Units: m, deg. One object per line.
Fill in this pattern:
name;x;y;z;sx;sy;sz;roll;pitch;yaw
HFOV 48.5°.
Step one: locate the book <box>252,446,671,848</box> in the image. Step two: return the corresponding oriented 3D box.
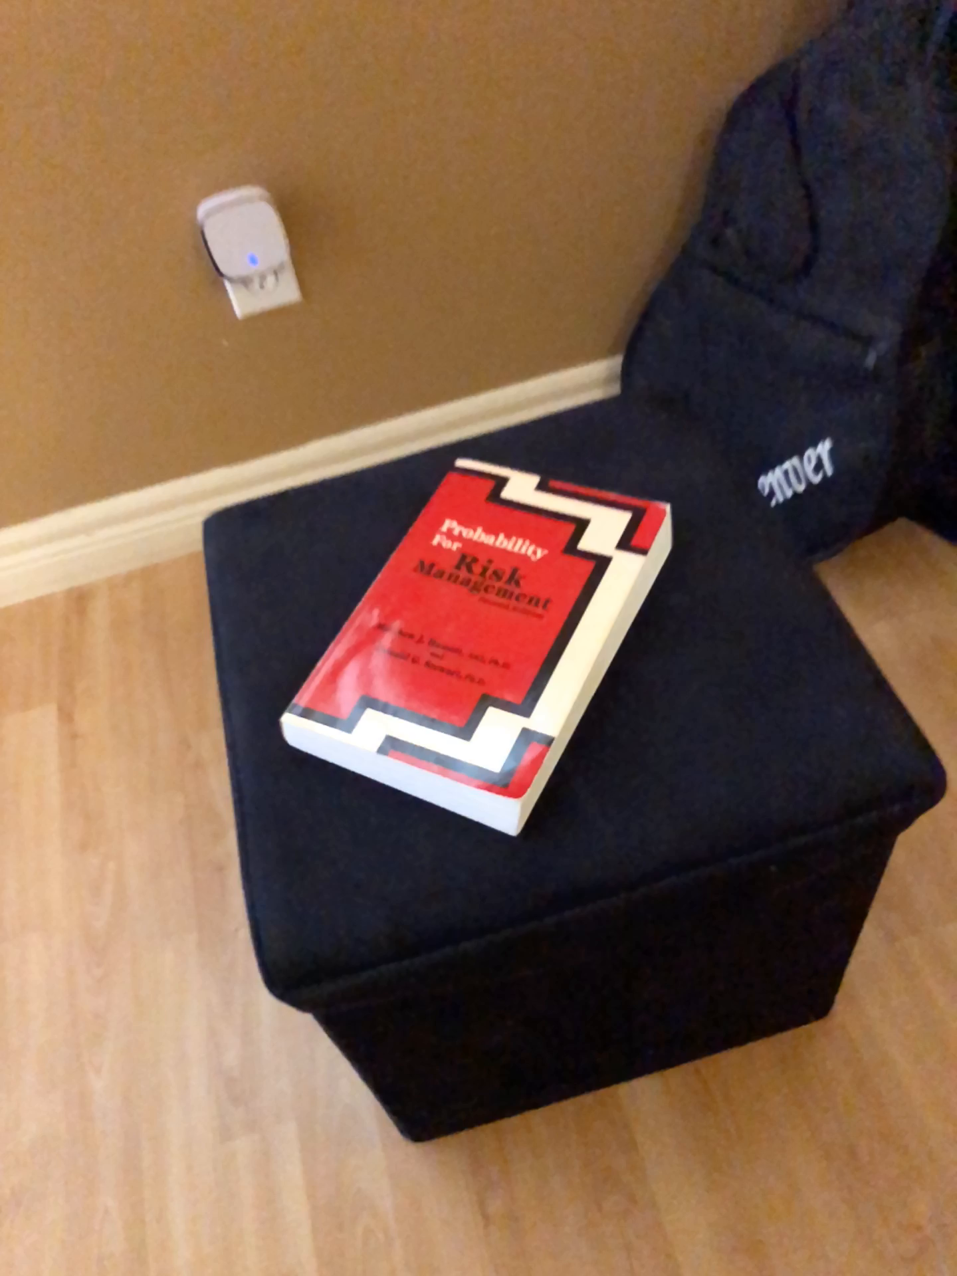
book;-0.001;-0.008;0.601;0.150;0.042;0.216;18;57;22
